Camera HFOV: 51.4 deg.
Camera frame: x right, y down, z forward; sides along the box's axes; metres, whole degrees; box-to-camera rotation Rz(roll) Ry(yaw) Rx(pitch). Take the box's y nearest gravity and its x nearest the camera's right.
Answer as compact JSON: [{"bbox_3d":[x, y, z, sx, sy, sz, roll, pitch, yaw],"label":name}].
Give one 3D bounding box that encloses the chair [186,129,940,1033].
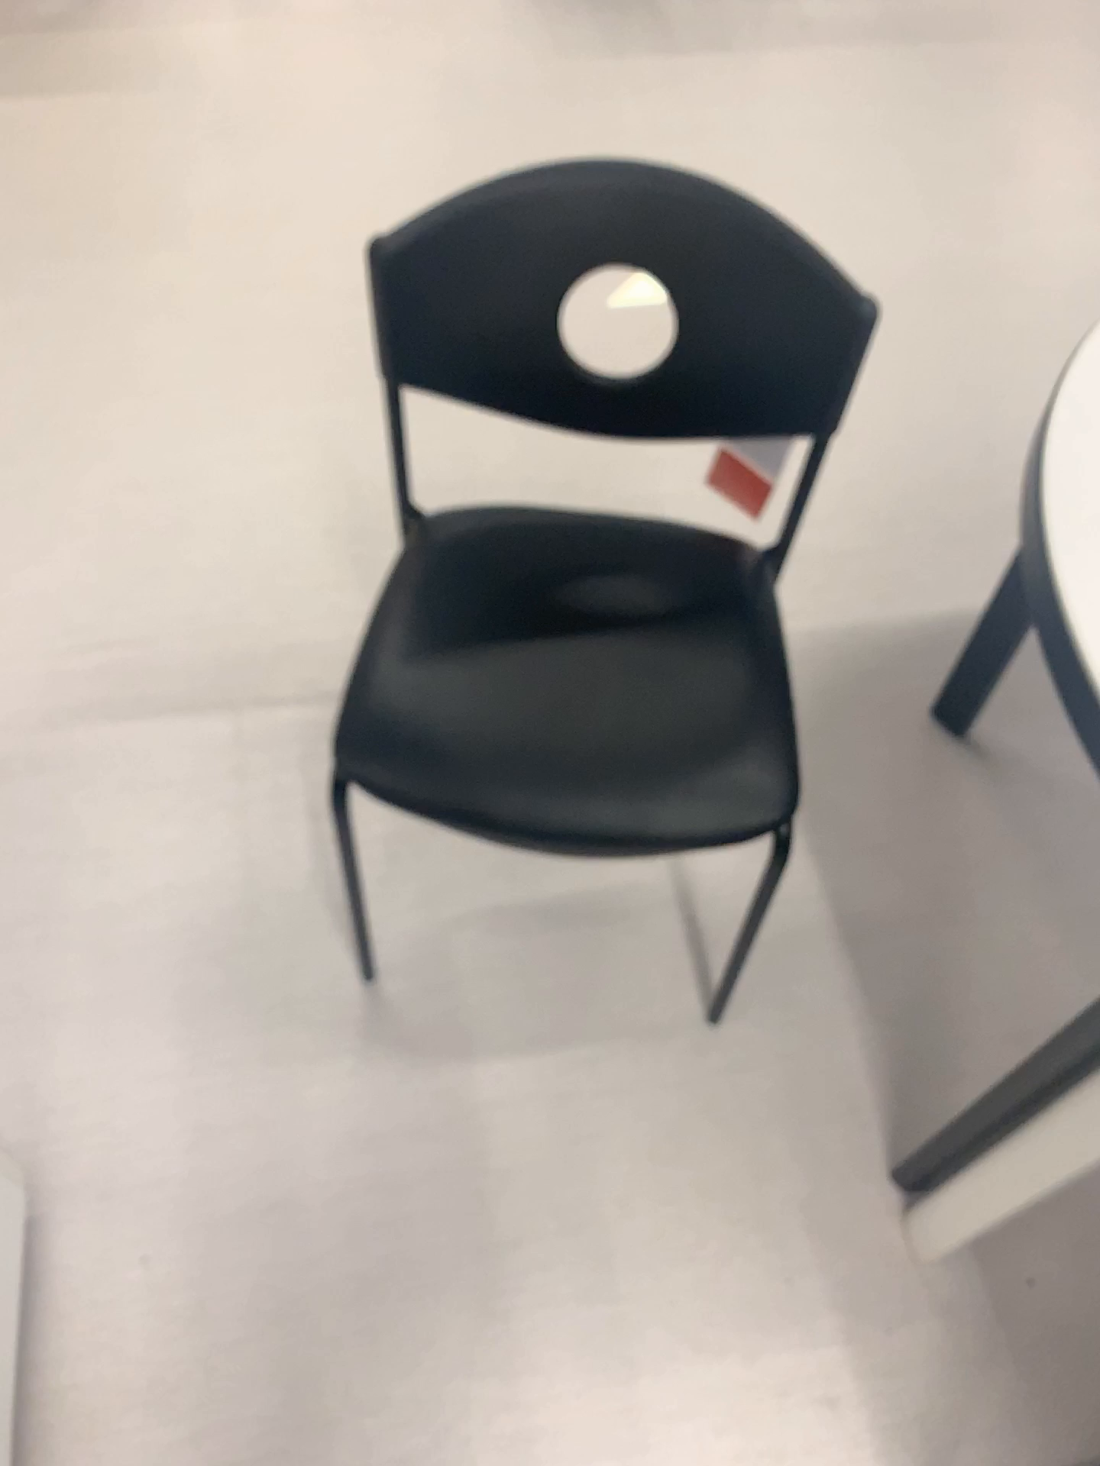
[{"bbox_3d":[0.015,-0.114,1.239,0.510,0.738,0.582,5,55,1],"label":"chair"}]
